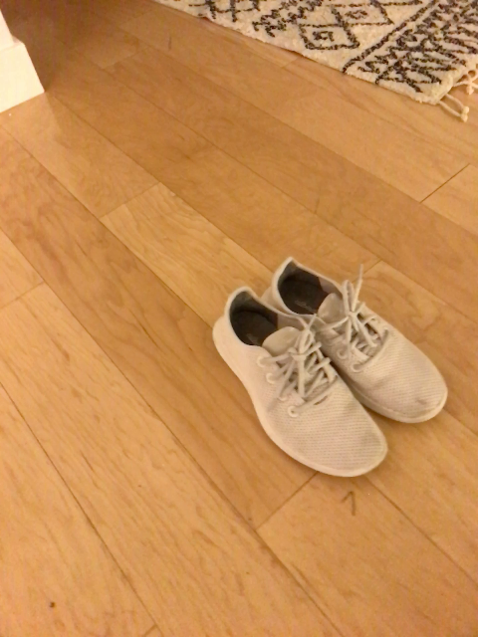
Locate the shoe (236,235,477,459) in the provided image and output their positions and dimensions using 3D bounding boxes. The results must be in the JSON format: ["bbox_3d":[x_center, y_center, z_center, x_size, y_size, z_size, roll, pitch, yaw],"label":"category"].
[{"bbox_3d":[0.132,0.022,0.629,0.120,0.070,0.271,-37,58,-19],"label":"shoe"}]

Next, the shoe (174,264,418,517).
[{"bbox_3d":[0.054,0.069,0.607,0.120,0.070,0.281,-33,57,-16],"label":"shoe"}]
